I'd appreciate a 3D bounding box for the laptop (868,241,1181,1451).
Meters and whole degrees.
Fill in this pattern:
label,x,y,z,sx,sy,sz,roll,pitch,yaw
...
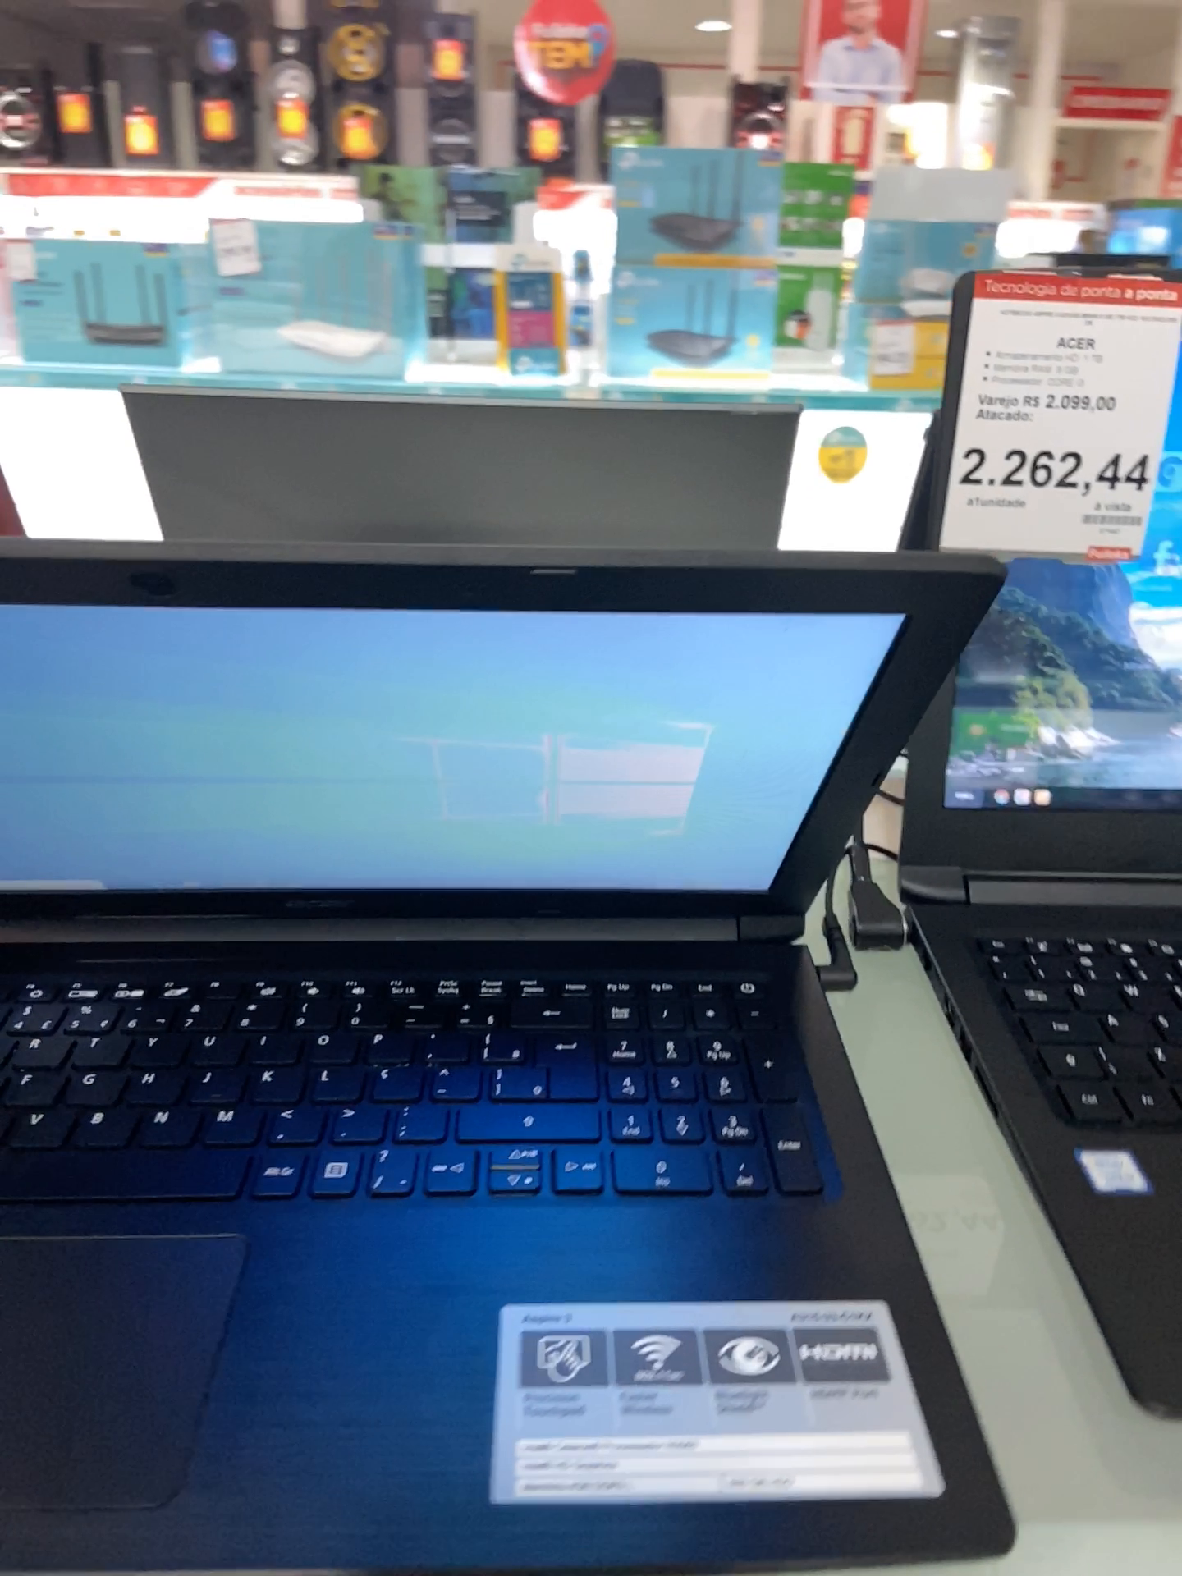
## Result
label,x,y,z,sx,sy,sz,roll,pitch,yaw
laptop,0.333,-0.022,0.372,0.398,0.247,0.285,1,24,-1

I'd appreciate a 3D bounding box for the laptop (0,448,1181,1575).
label,x,y,z,sx,sy,sz,roll,pitch,yaw
laptop,-0.101,0.024,0.325,0.379,0.185,0.240,0,24,-2
